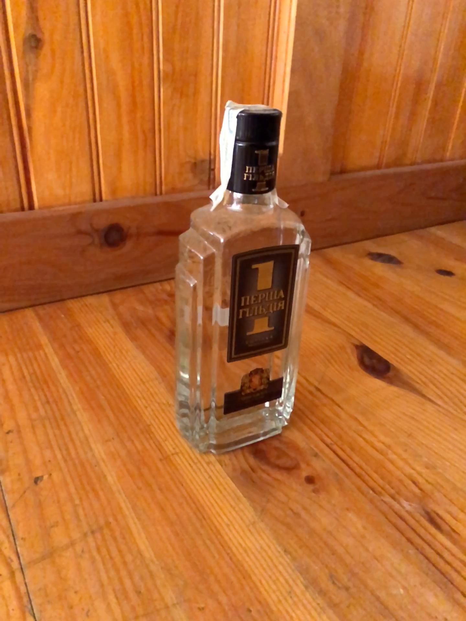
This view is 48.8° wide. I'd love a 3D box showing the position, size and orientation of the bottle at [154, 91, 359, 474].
[{"bbox_3d":[0.006,-0.013,0.352,0.100,0.249,0.060,-10,32,-23],"label":"bottle"}]
